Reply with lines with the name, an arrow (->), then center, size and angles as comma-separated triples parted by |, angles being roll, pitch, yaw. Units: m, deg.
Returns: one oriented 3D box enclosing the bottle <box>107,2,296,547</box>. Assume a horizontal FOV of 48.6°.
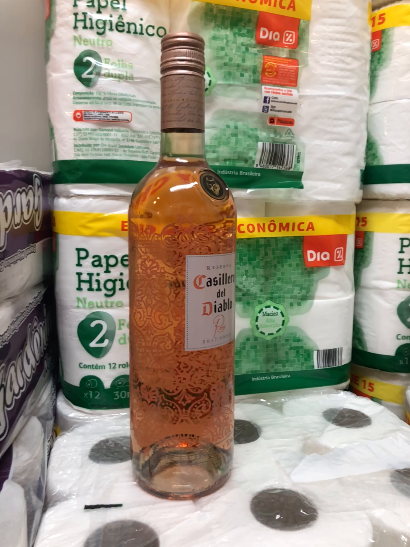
bottle -> -0.004, 0.005, 0.311 | 0.090, 0.309, 0.080 | -6, 11, -36
